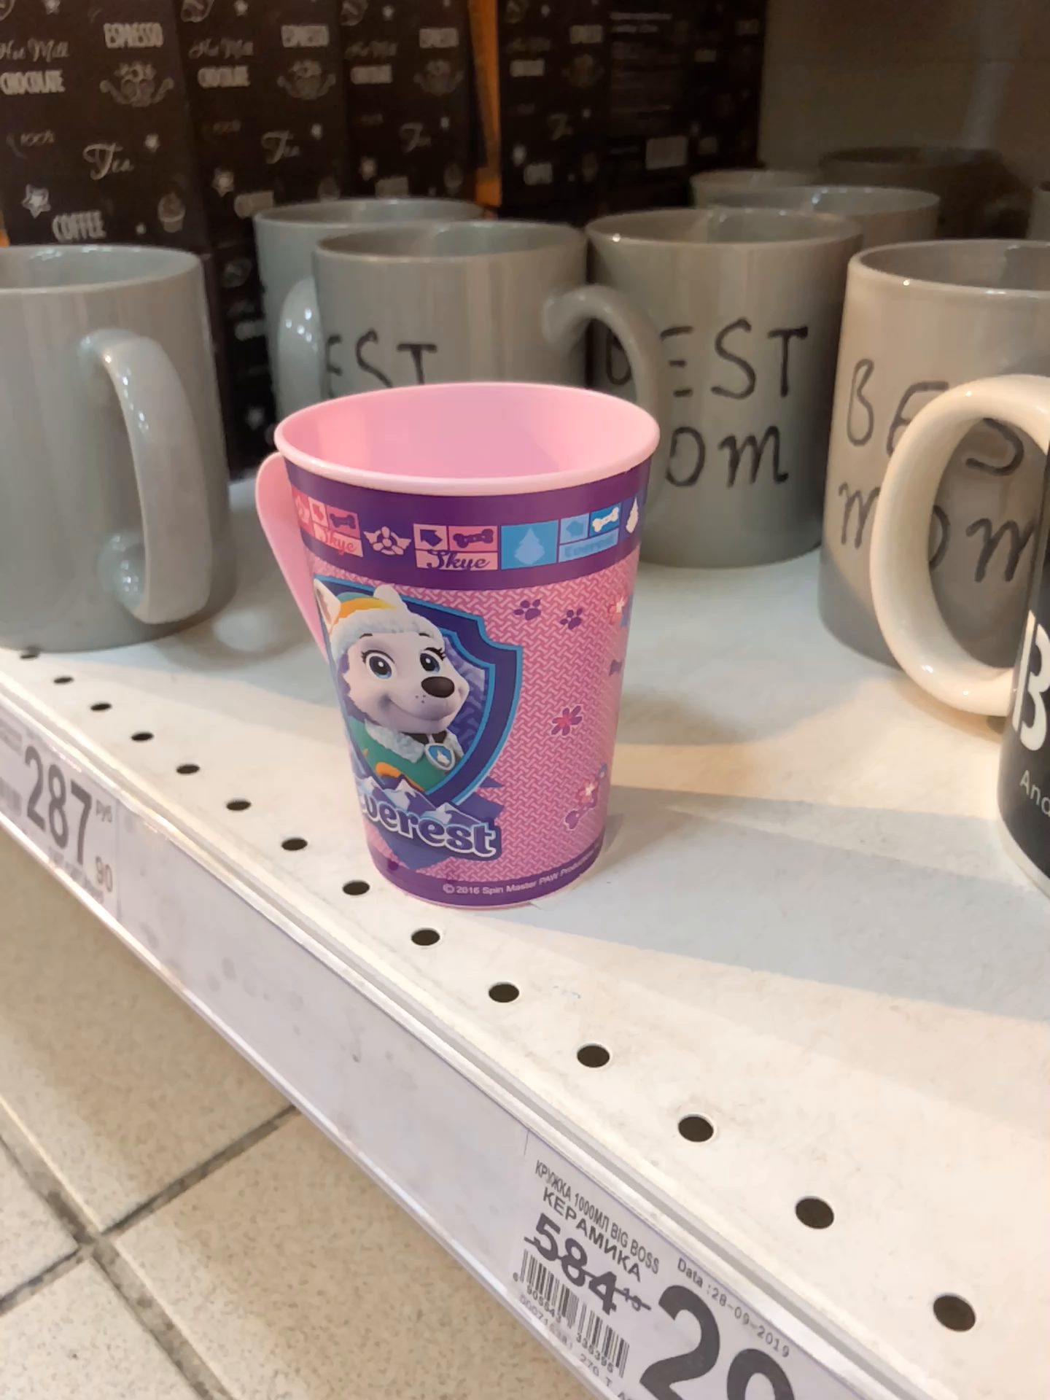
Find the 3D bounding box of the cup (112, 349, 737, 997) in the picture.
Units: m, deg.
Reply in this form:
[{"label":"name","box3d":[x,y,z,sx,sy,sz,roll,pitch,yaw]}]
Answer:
[{"label":"cup","box3d":[-0.022,-0.015,0.273,0.109,0.104,0.078,20,34,33]}]
